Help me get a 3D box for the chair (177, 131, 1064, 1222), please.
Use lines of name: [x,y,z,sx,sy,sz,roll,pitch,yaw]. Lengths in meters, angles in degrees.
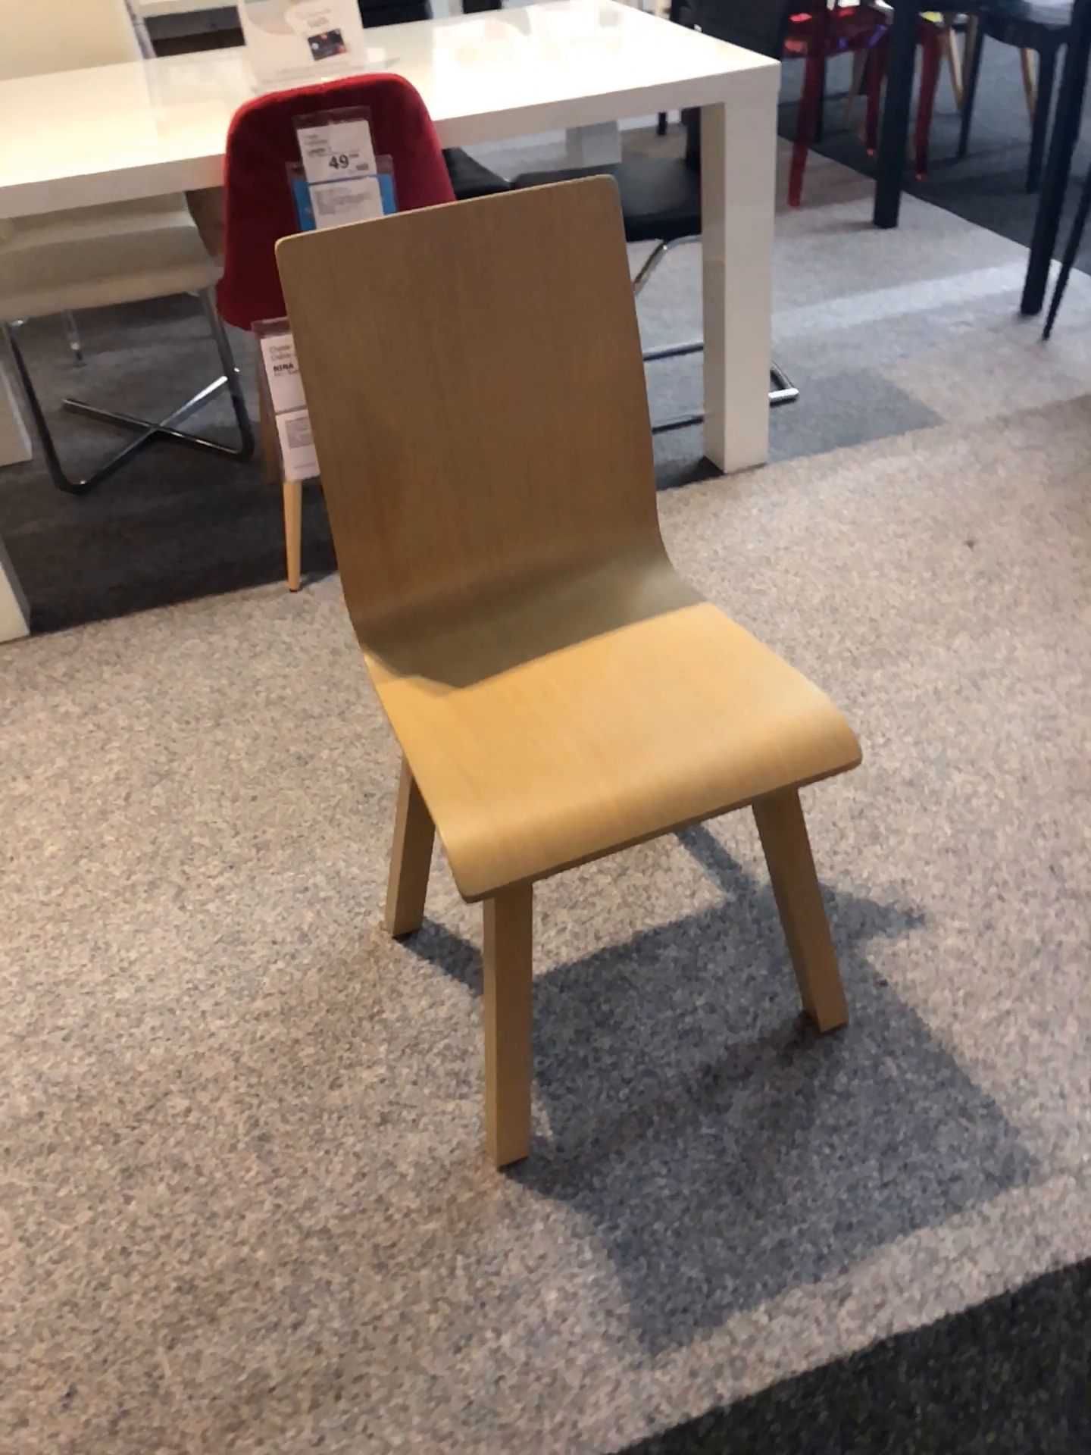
chair: [0.048,-0.045,1.180,0.521,0.835,0.492,-18,41,-15]
